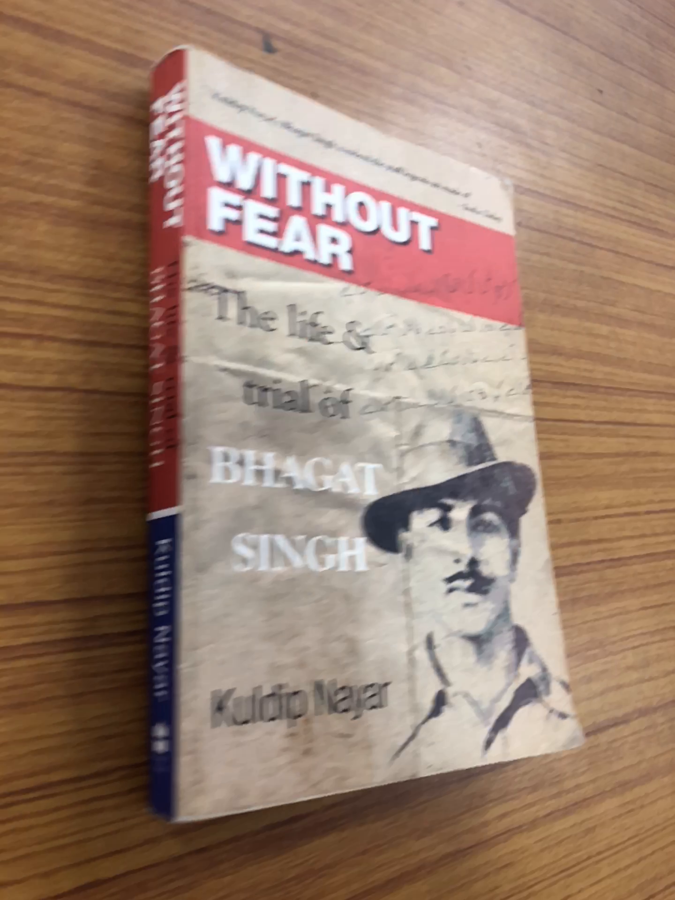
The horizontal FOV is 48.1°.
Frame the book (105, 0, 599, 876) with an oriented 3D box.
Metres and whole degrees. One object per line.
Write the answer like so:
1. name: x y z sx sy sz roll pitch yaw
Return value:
1. book: 0.009 -0.009 0.223 0.140 0.030 0.210 7 75 -35
